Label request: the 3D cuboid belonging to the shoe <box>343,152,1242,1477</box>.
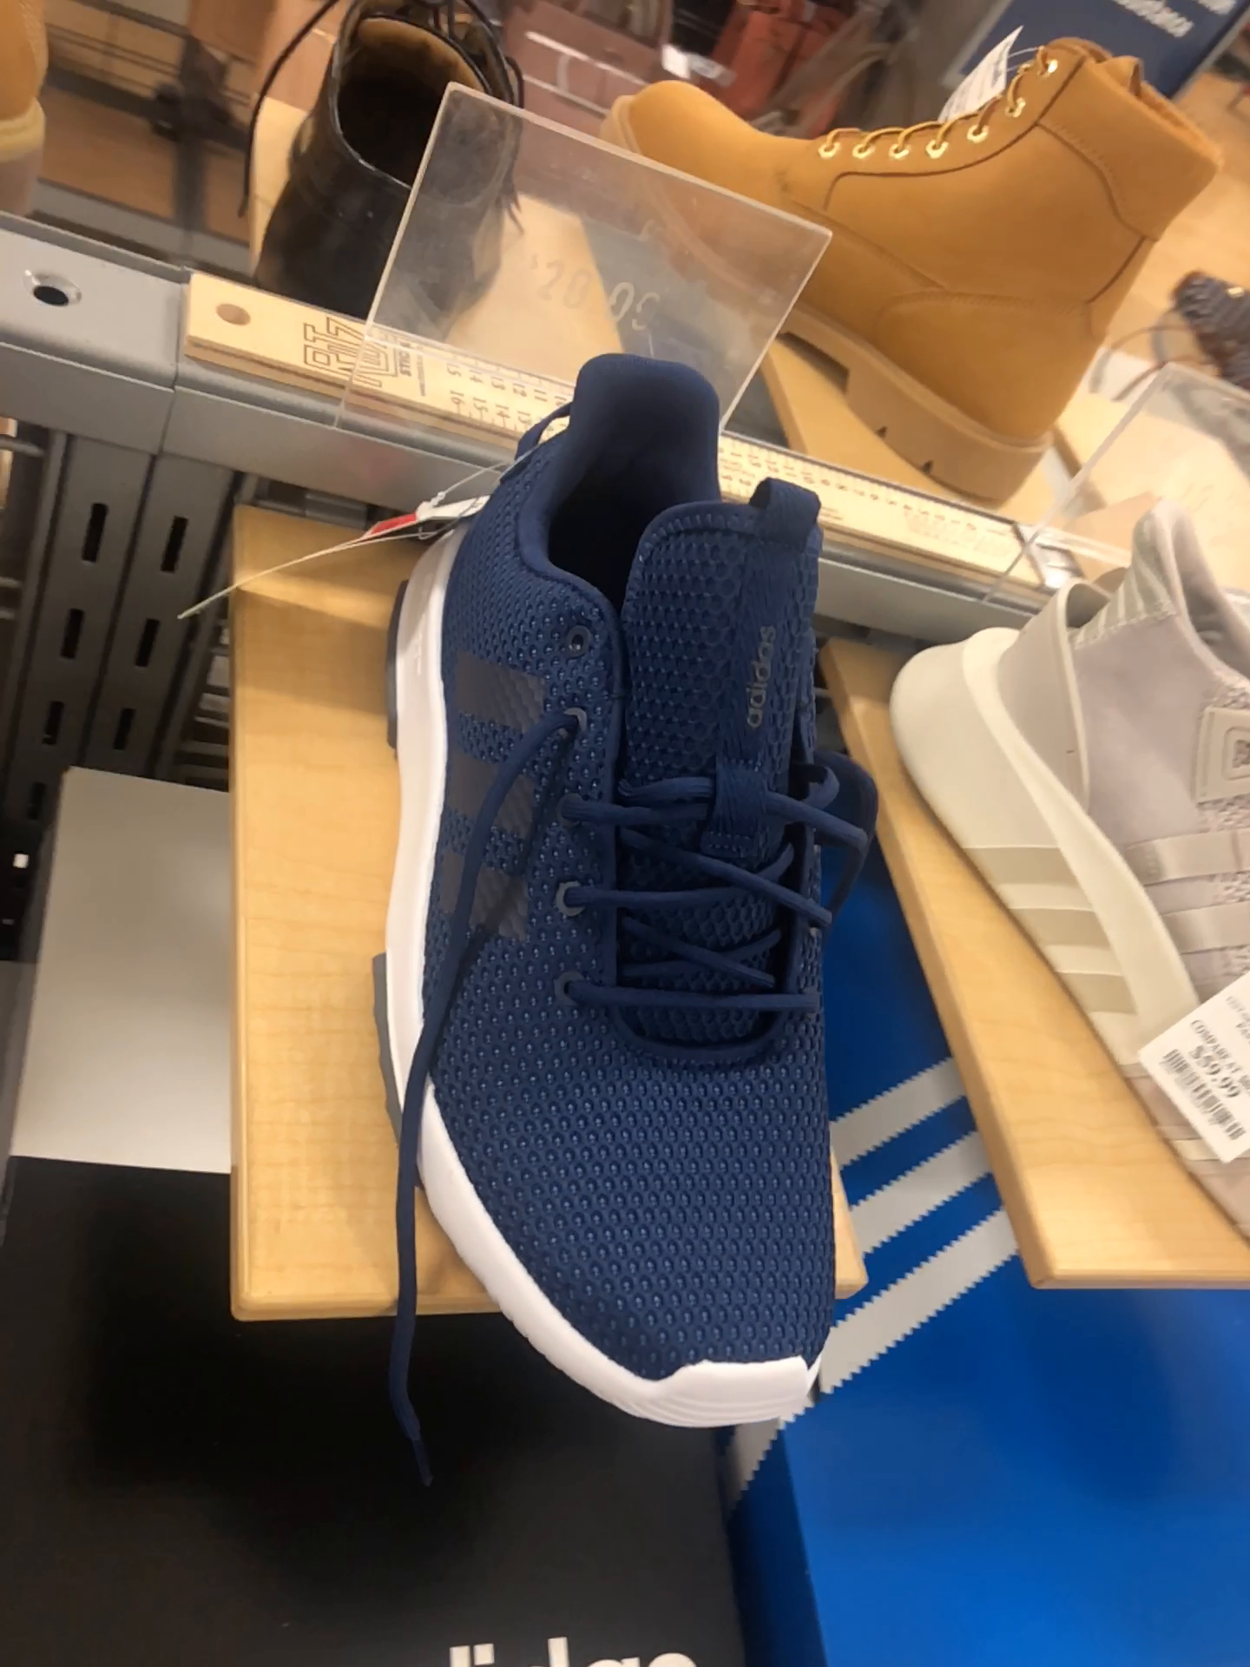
[{"bbox_3d":[0.007,-0.016,0.366,0.112,0.145,0.305,9,49,-26],"label":"shoe"}]
